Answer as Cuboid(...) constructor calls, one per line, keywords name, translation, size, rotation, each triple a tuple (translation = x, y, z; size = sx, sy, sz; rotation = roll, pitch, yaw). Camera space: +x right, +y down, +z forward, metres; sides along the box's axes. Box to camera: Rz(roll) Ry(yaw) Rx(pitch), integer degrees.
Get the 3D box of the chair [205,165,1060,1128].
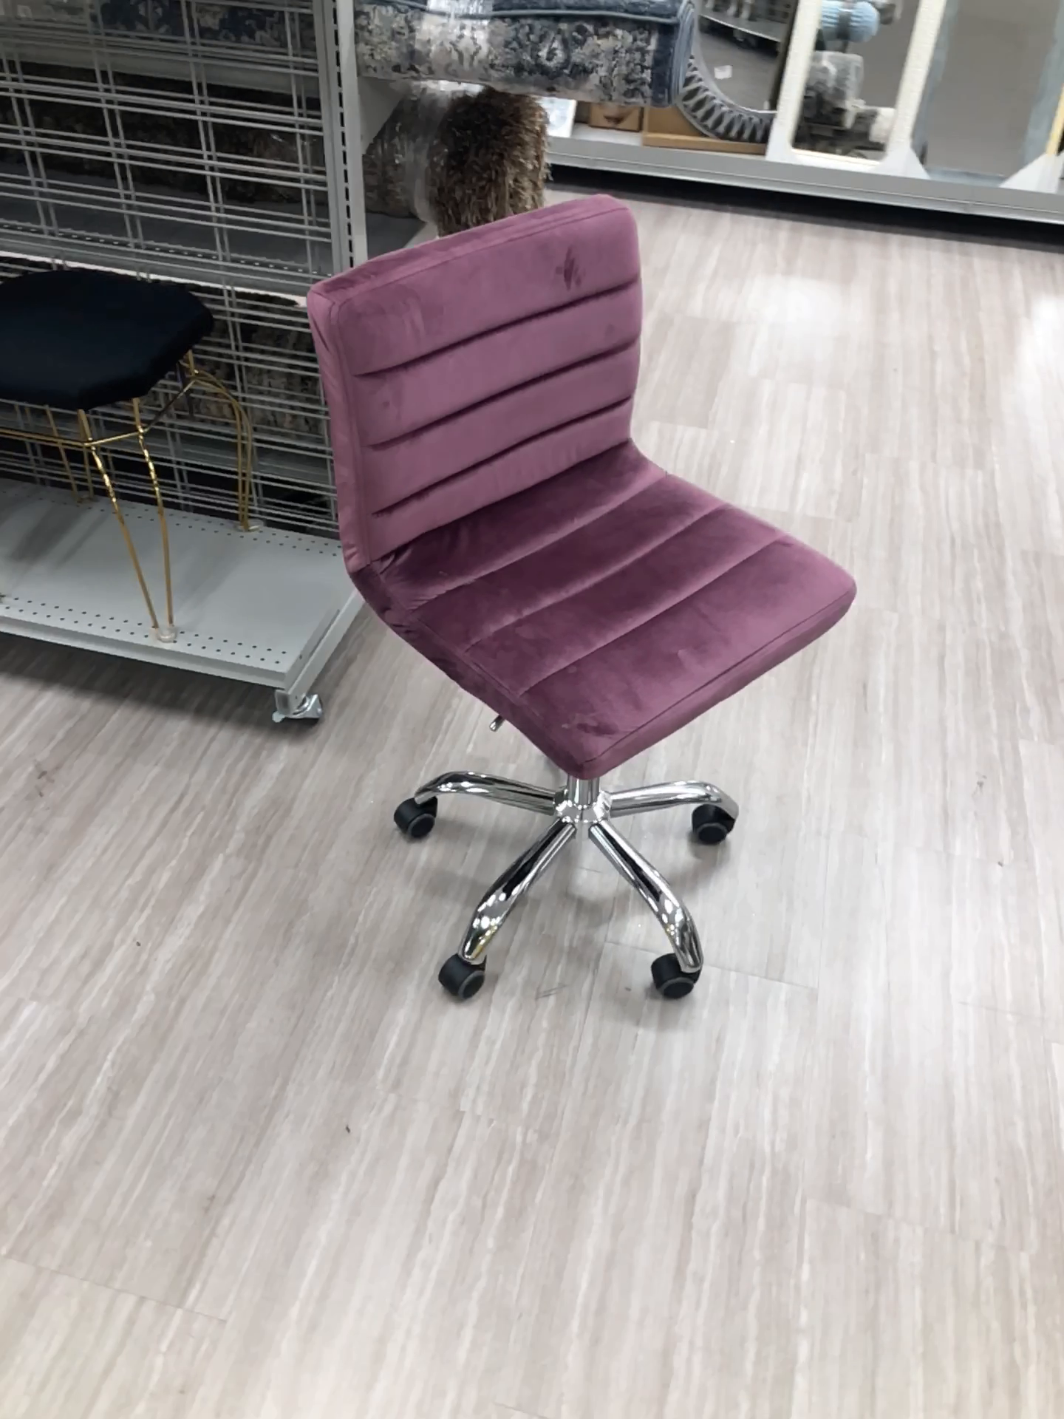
Cuboid(name="chair", translation=(0.084, -0.091, 1.386), size=(0.589, 0.800, 0.578), rotation=(-32, 53, -33))
